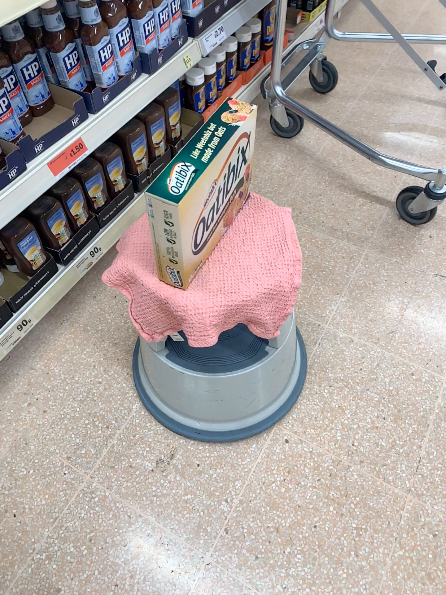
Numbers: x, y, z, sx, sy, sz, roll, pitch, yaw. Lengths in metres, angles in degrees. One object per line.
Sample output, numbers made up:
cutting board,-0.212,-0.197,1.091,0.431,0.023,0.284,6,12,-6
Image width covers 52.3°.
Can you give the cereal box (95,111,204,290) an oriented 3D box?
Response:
cereal box,-0.117,-0.179,0.835,0.060,0.188,0.272,19,56,12
